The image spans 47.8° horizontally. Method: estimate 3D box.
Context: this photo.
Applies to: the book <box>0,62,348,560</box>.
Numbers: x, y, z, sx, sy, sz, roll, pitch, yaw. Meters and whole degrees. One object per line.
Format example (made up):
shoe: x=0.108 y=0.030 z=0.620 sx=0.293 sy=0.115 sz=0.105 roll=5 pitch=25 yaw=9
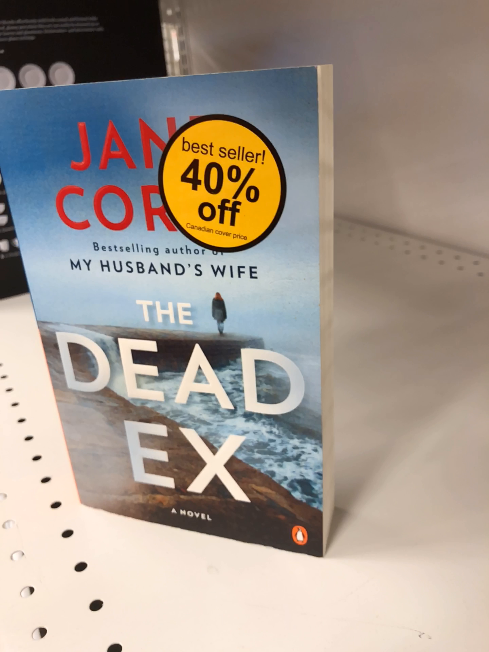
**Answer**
book: x=-0.029 y=0.000 z=0.259 sx=0.146 sy=0.211 sz=0.040 roll=4 pitch=25 yaw=21
